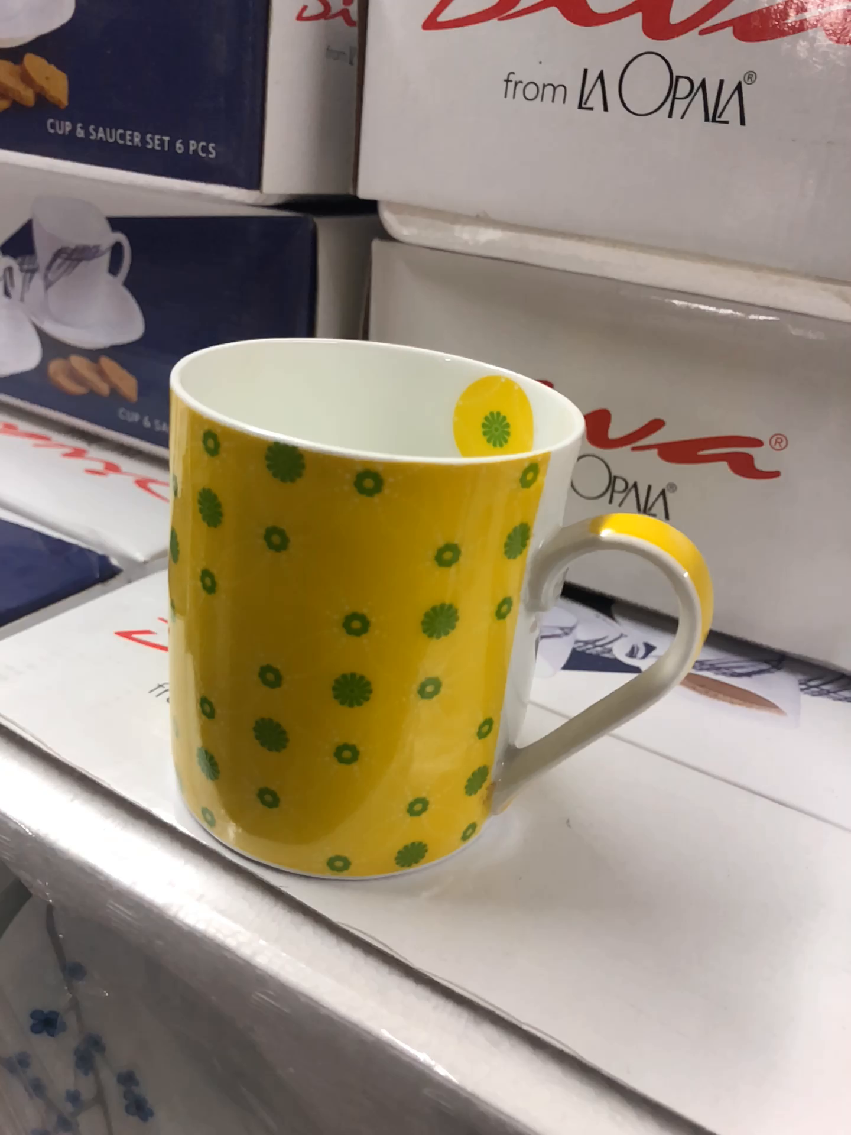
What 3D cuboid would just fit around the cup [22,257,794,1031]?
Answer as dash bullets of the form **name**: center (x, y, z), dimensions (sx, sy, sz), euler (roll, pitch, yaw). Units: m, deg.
- **cup**: center (-0.002, 0.001, 0.157), dimensions (0.090, 0.080, 0.070), euler (19, 30, 24)
